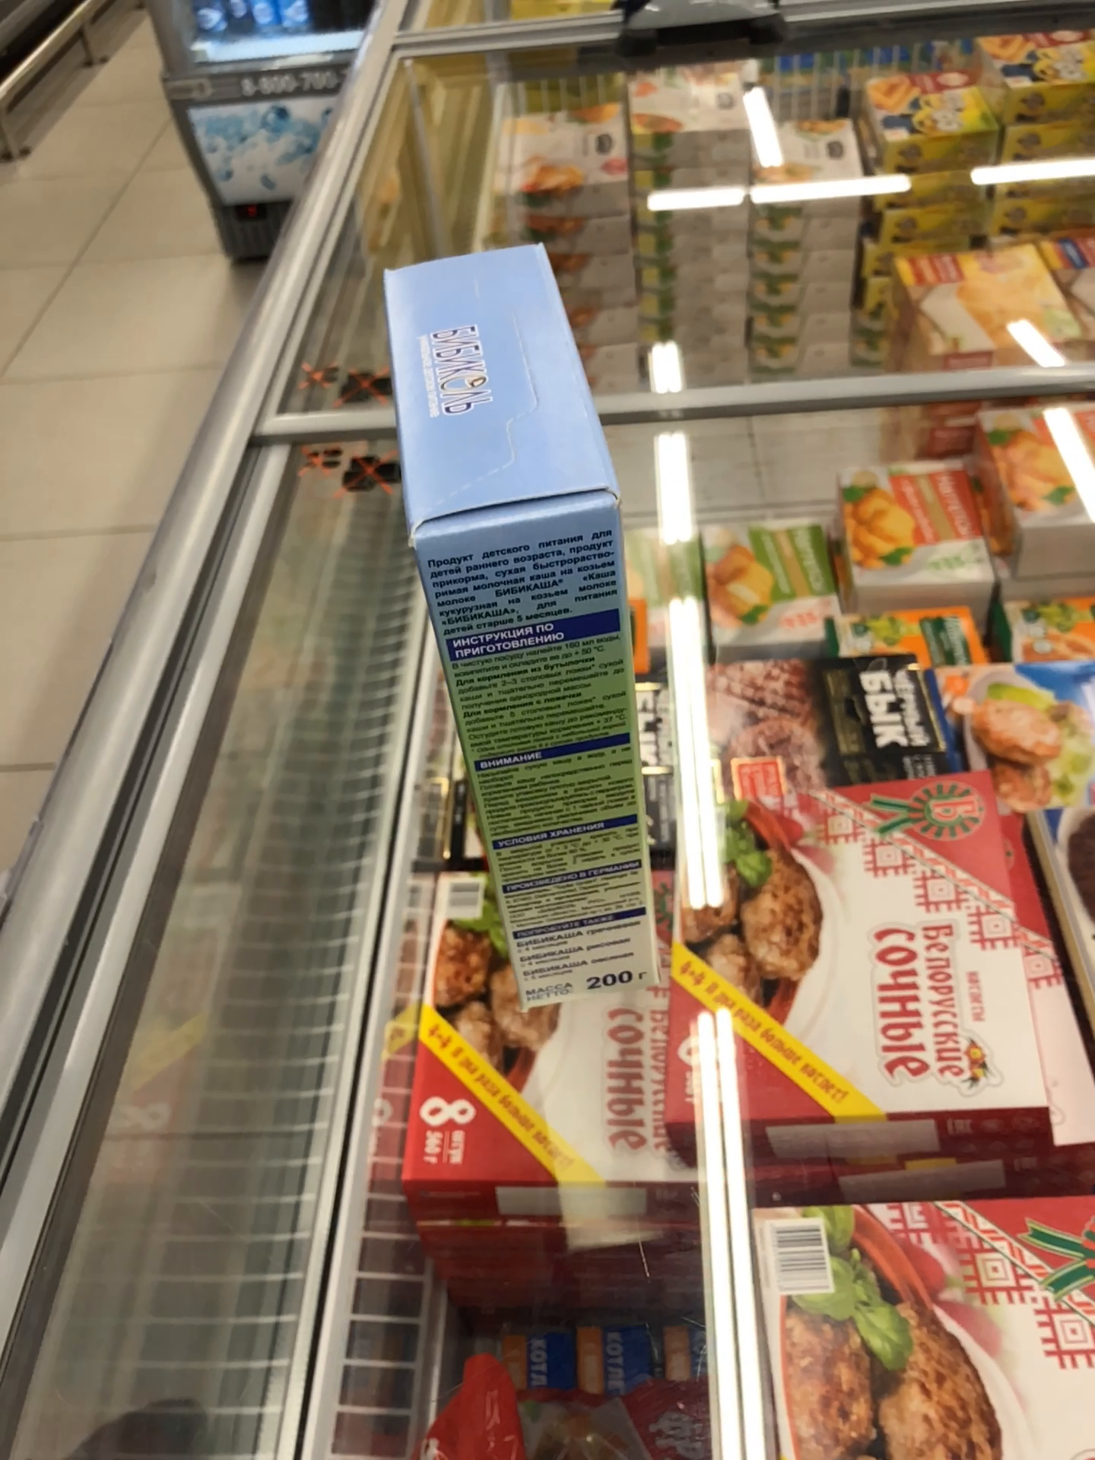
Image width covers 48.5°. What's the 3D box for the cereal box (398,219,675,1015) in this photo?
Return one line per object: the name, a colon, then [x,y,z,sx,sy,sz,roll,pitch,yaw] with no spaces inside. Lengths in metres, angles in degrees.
cereal box: [-0.001,-0.029,0.380,0.050,0.199,0.141,-9,45,0]
